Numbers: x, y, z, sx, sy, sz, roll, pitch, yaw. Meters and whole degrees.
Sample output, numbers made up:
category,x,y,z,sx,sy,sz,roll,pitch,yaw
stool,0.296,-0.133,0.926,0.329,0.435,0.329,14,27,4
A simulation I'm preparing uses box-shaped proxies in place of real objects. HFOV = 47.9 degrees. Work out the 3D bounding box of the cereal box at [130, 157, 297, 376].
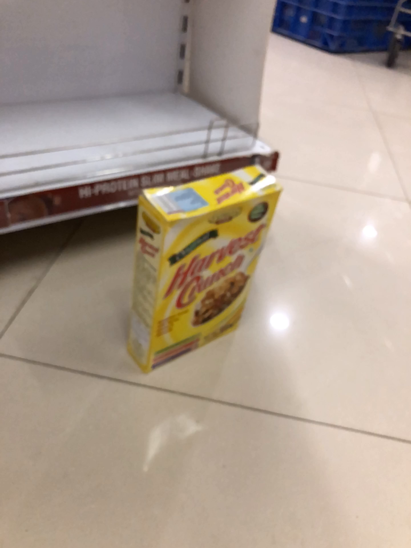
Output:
category,x,y,z,sx,sy,sz,roll,pitch,yaw
cereal box,0.003,-0.007,0.506,0.161,0.208,0.050,-22,47,-33
